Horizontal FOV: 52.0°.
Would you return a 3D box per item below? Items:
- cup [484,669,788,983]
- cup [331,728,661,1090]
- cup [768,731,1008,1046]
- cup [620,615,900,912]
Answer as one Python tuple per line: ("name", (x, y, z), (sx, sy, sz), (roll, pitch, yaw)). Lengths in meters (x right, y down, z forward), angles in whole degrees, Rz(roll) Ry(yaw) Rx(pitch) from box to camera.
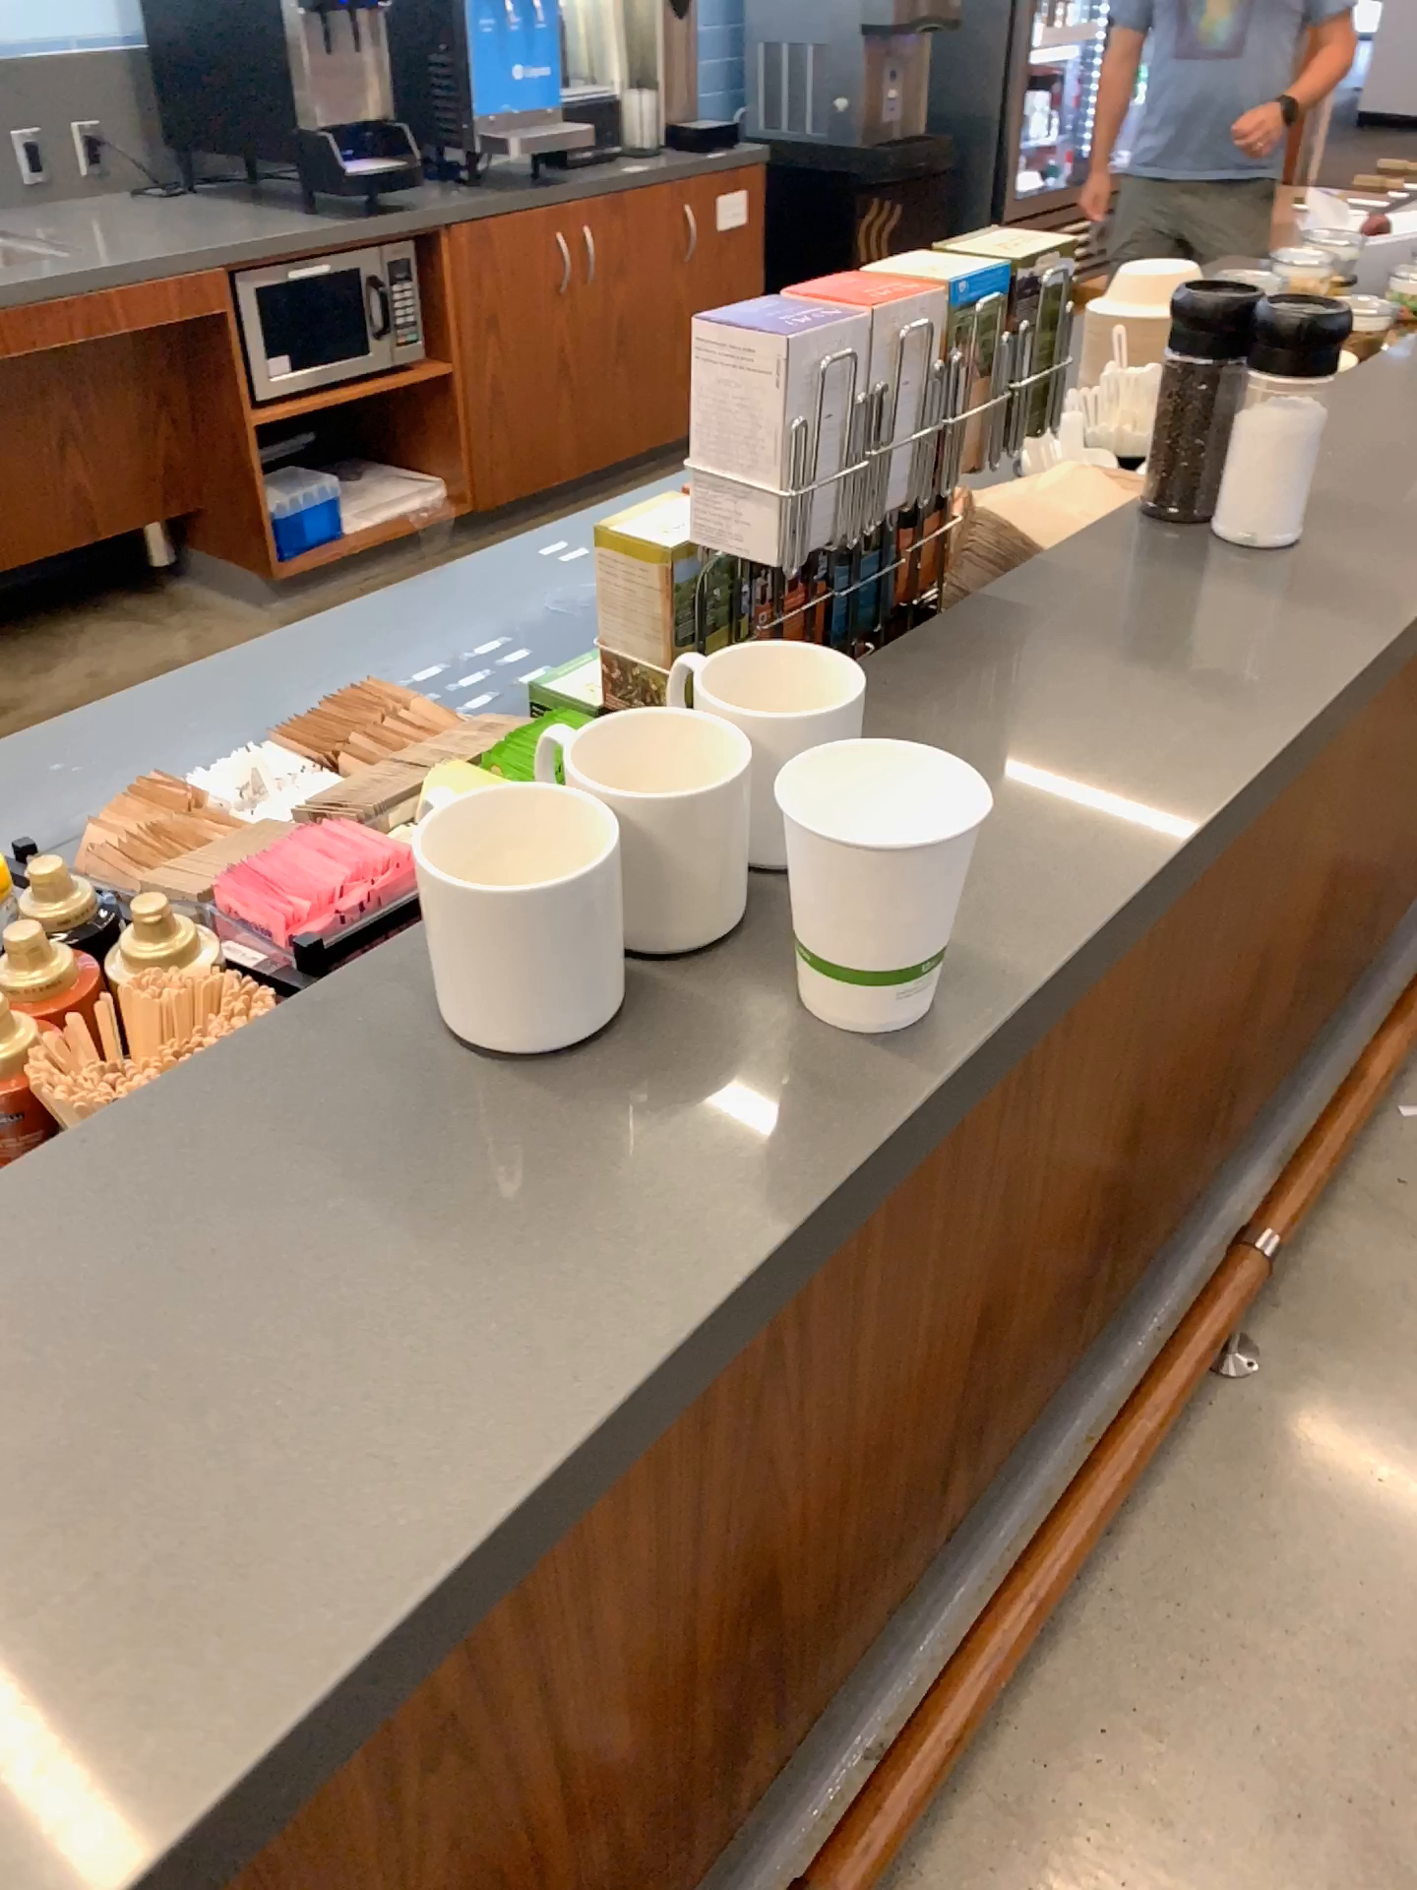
("cup", (-0.034, -0.061, 0.699), (0.110, 0.089, 0.090), (30, 45, 34))
("cup", (-0.093, -0.020, 0.653), (0.110, 0.099, 0.090), (30, 45, 34))
("cup", (0.074, -0.026, 0.629), (0.090, 0.099, 0.091), (0, 36, 0))
("cup", (0.026, -0.099, 0.766), (0.110, 0.099, 0.090), (28, 44, 33))
